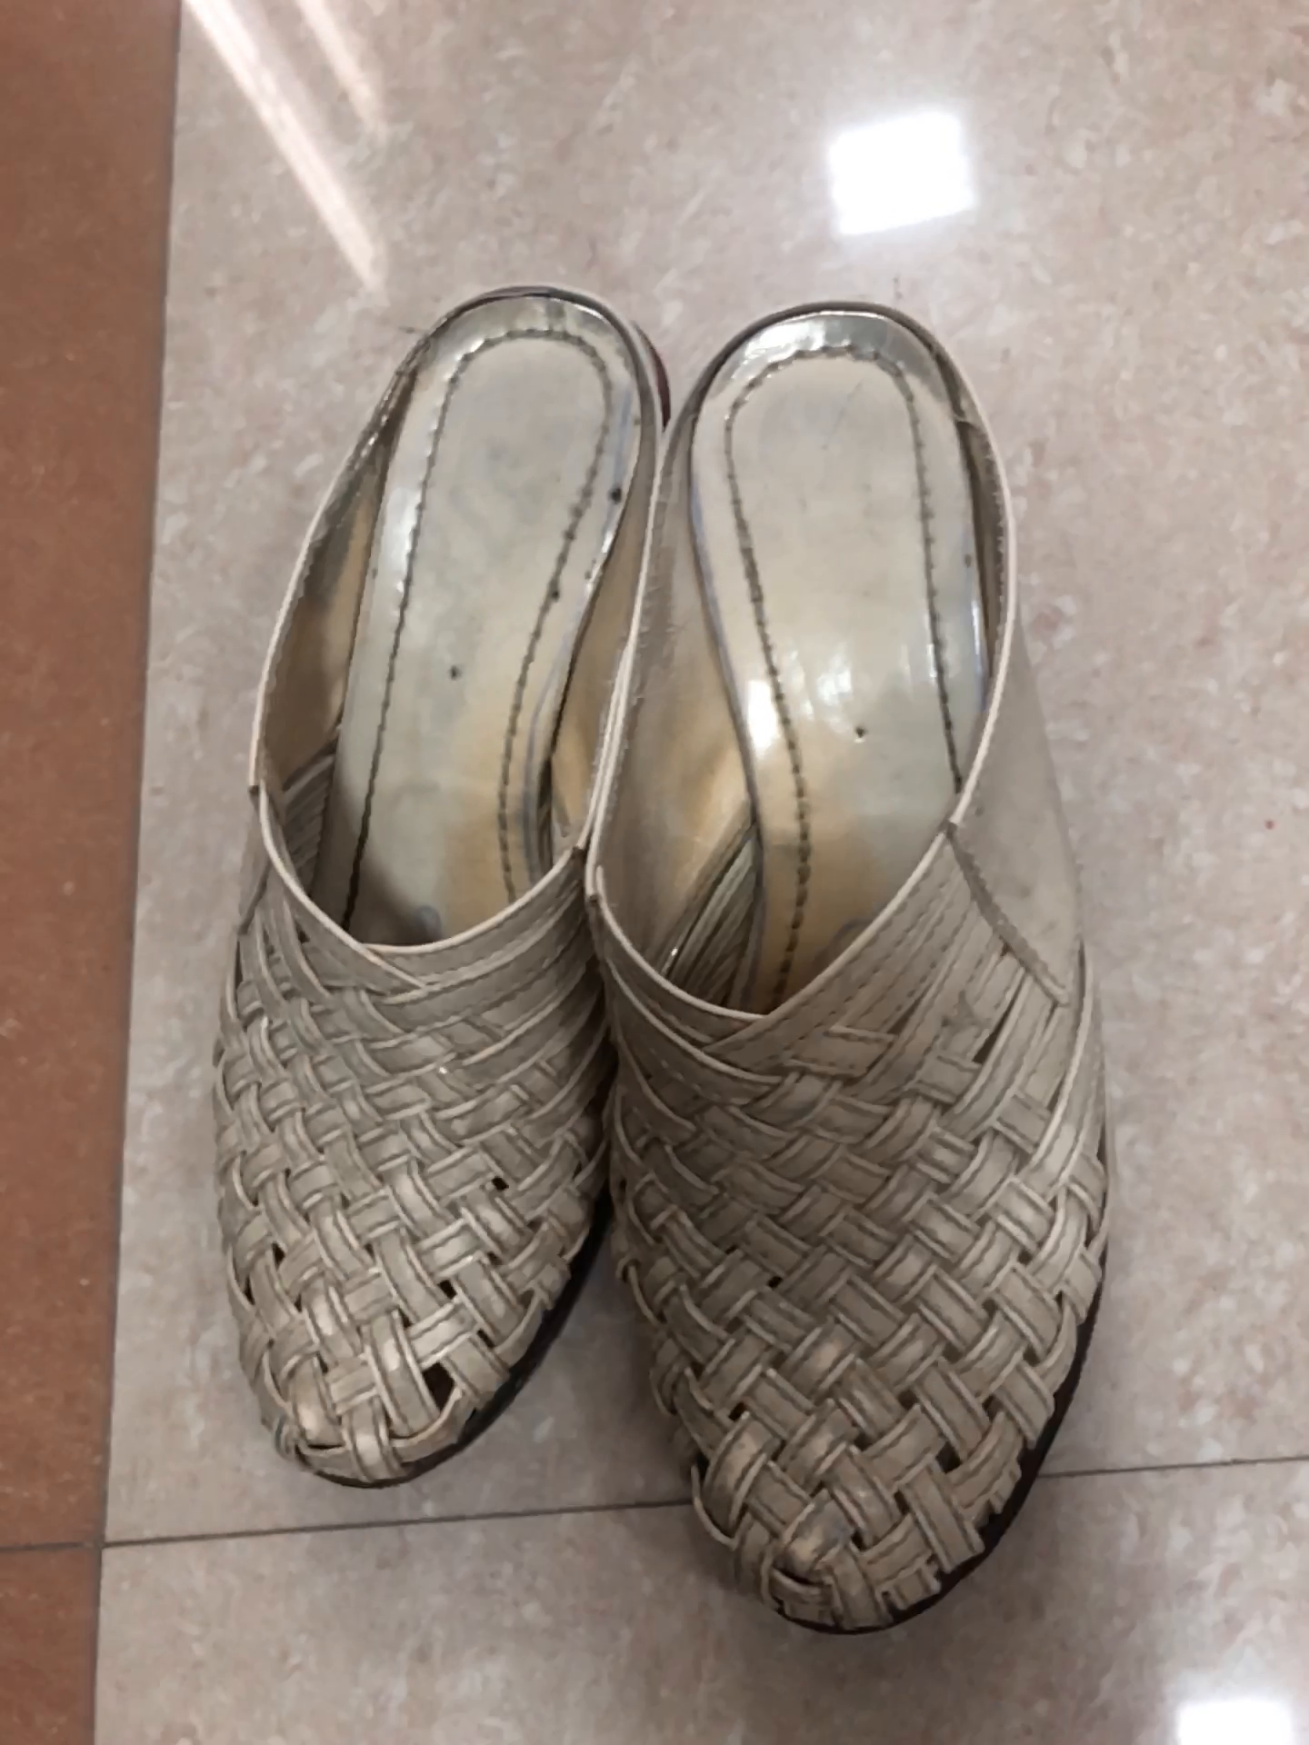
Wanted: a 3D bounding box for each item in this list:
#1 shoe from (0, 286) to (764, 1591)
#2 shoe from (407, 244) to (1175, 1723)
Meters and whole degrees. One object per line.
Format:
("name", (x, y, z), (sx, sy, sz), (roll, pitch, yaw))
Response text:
("shoe", (-0.055, 0.005, 0.295), (0.100, 0.085, 0.225), (7, 73, 18))
("shoe", (0.028, 0.015, 0.264), (0.100, 0.085, 0.221), (-4, 70, 14))
